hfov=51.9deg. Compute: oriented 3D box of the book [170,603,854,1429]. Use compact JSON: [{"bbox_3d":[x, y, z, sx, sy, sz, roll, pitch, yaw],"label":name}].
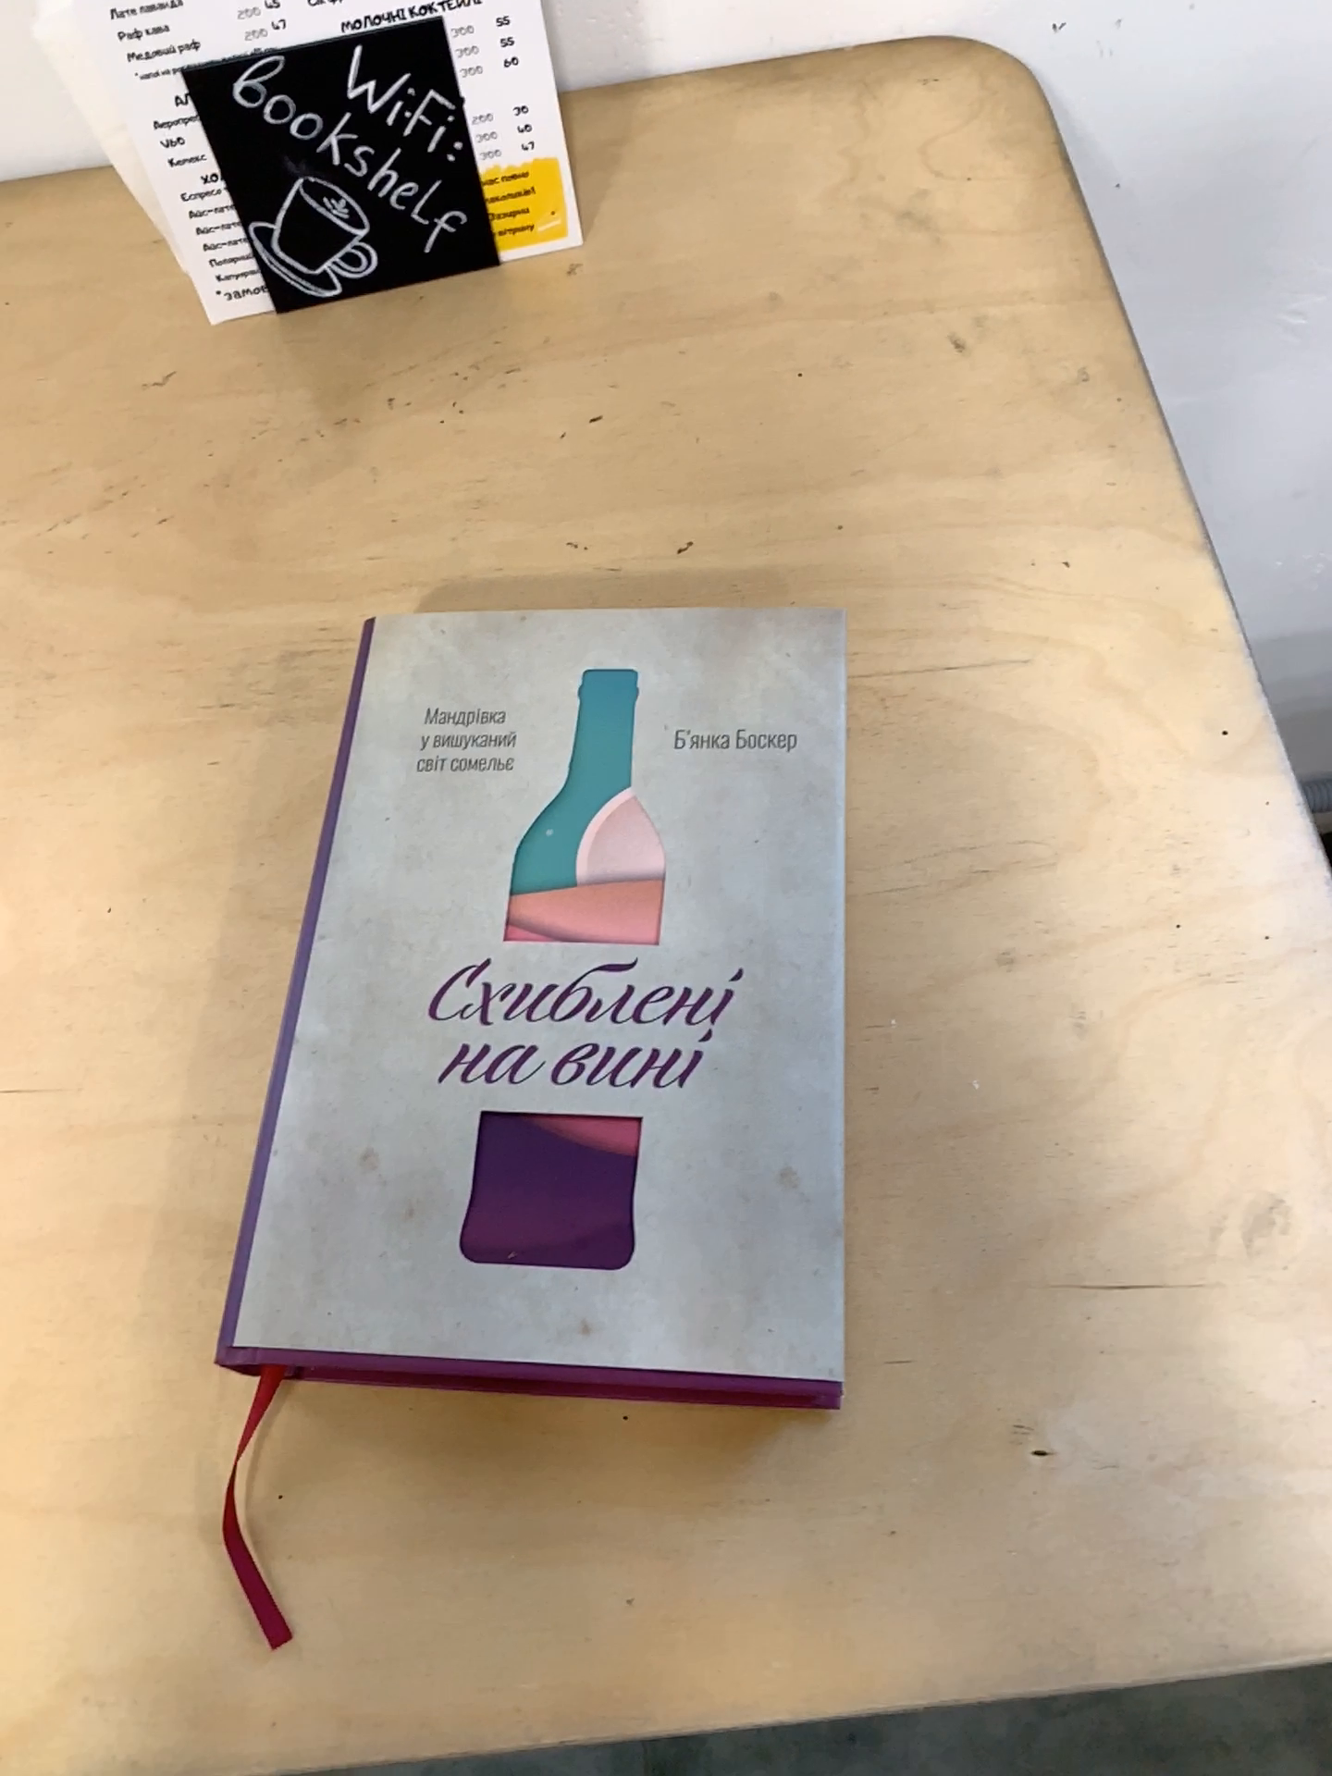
[{"bbox_3d":[-0.027,0.024,0.369,0.150,0.050,0.214,1,63,7],"label":"book"}]
